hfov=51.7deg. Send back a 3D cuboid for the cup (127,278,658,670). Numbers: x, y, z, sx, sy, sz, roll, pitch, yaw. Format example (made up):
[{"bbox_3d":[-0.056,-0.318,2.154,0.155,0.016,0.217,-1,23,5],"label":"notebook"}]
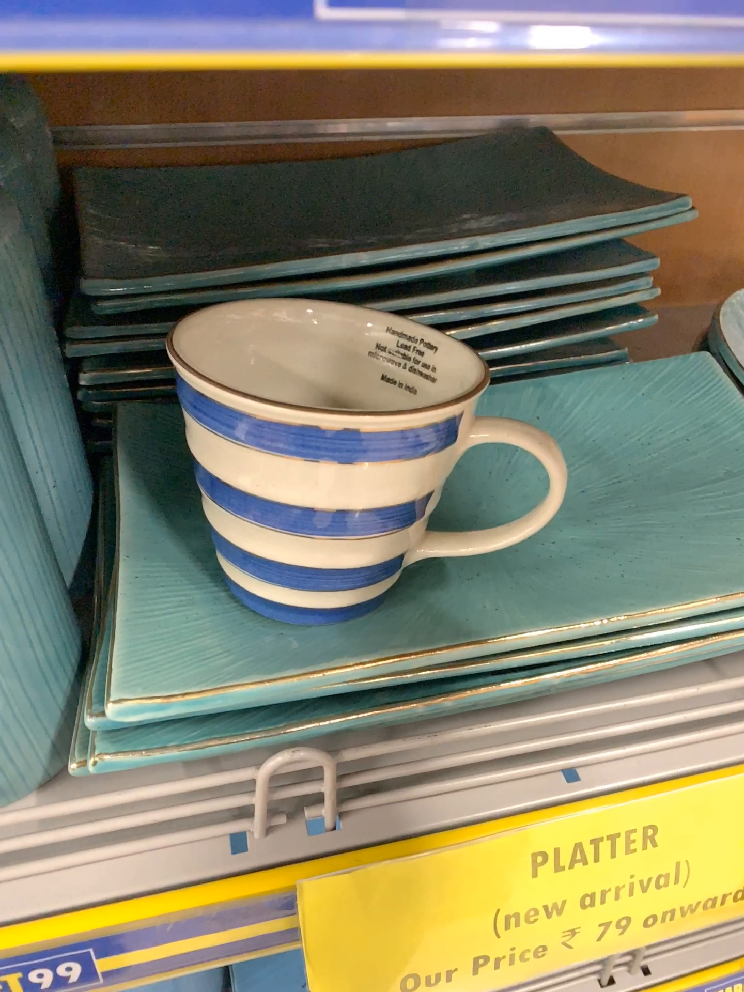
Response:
[{"bbox_3d":[0.003,-0.012,0.264,0.140,0.080,0.100,7,31,-3],"label":"cup"}]
